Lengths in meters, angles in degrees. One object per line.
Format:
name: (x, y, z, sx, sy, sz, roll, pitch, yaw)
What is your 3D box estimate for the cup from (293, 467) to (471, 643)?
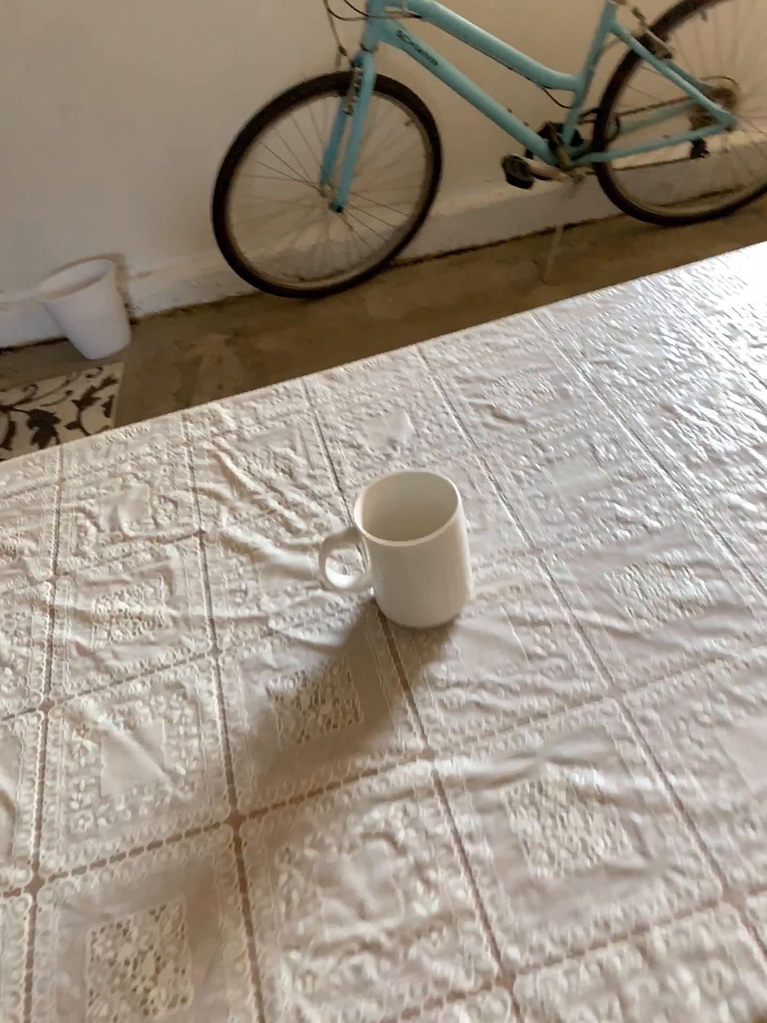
cup: (0.002, 0.035, 0.620, 0.120, 0.090, 0.090, -7, 46, 7)
